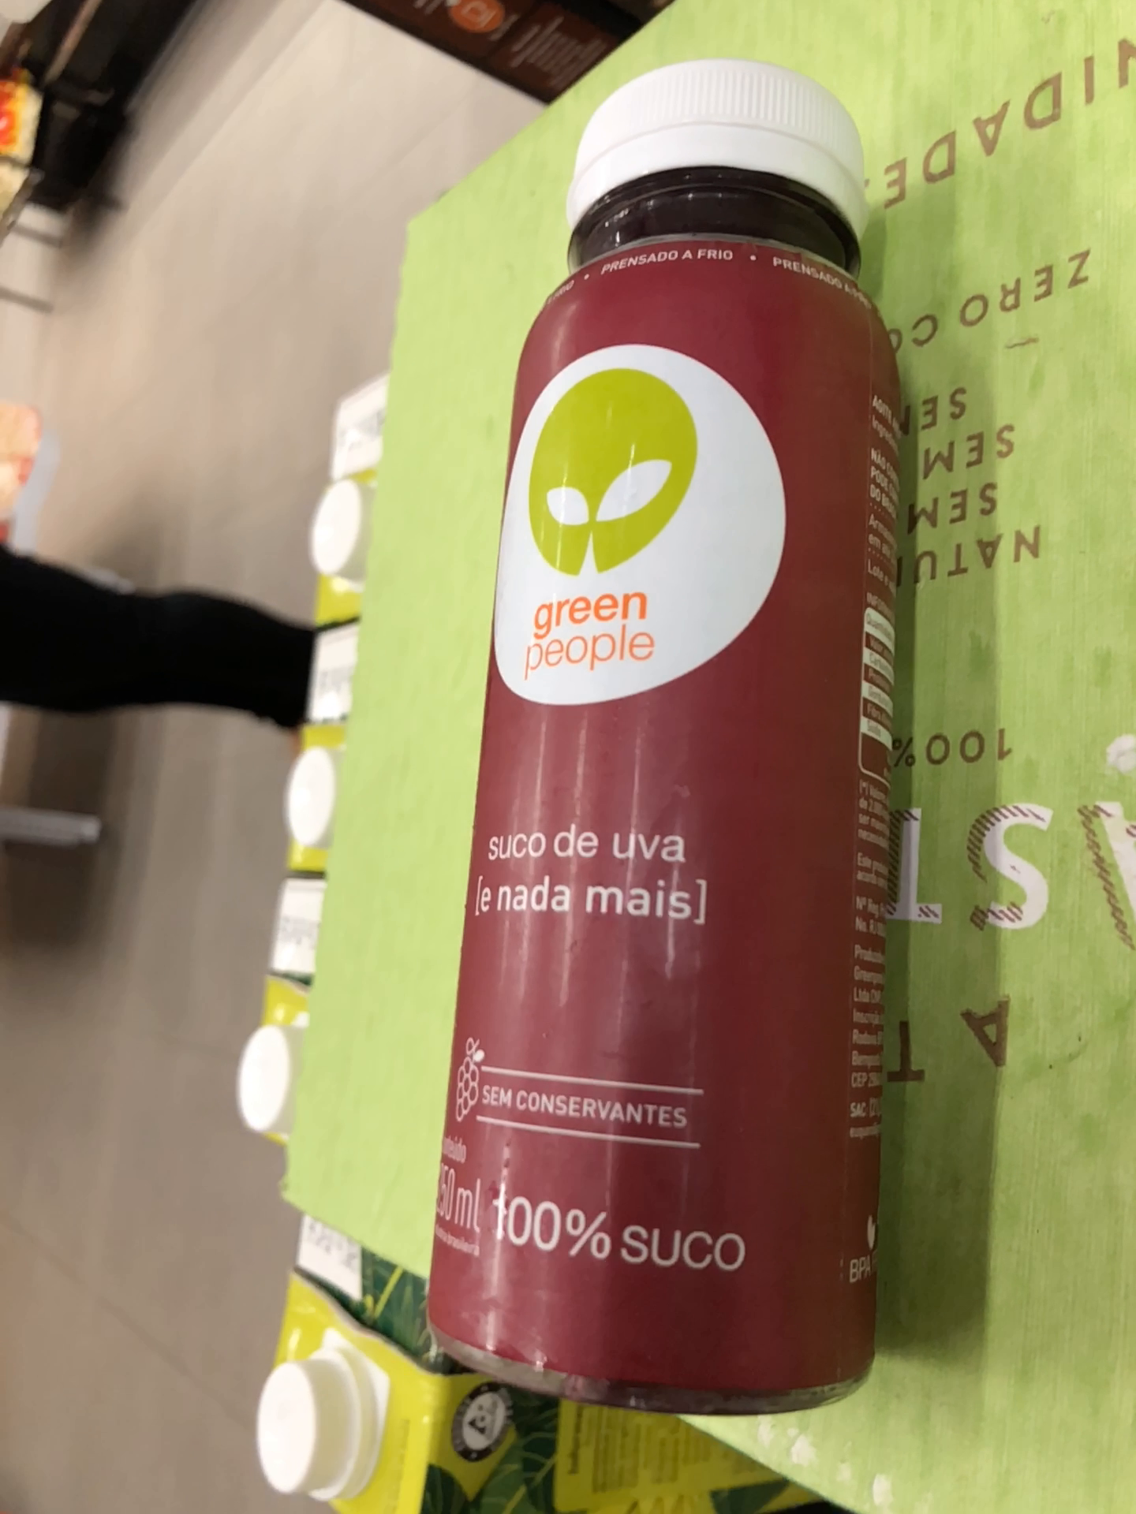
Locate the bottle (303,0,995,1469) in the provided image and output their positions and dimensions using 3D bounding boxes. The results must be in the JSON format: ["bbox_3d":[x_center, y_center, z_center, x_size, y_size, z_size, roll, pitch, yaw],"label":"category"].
[{"bbox_3d":[0.017,-0.015,0.168,0.060,0.060,0.170,-2,78,31],"label":"bottle"}]
